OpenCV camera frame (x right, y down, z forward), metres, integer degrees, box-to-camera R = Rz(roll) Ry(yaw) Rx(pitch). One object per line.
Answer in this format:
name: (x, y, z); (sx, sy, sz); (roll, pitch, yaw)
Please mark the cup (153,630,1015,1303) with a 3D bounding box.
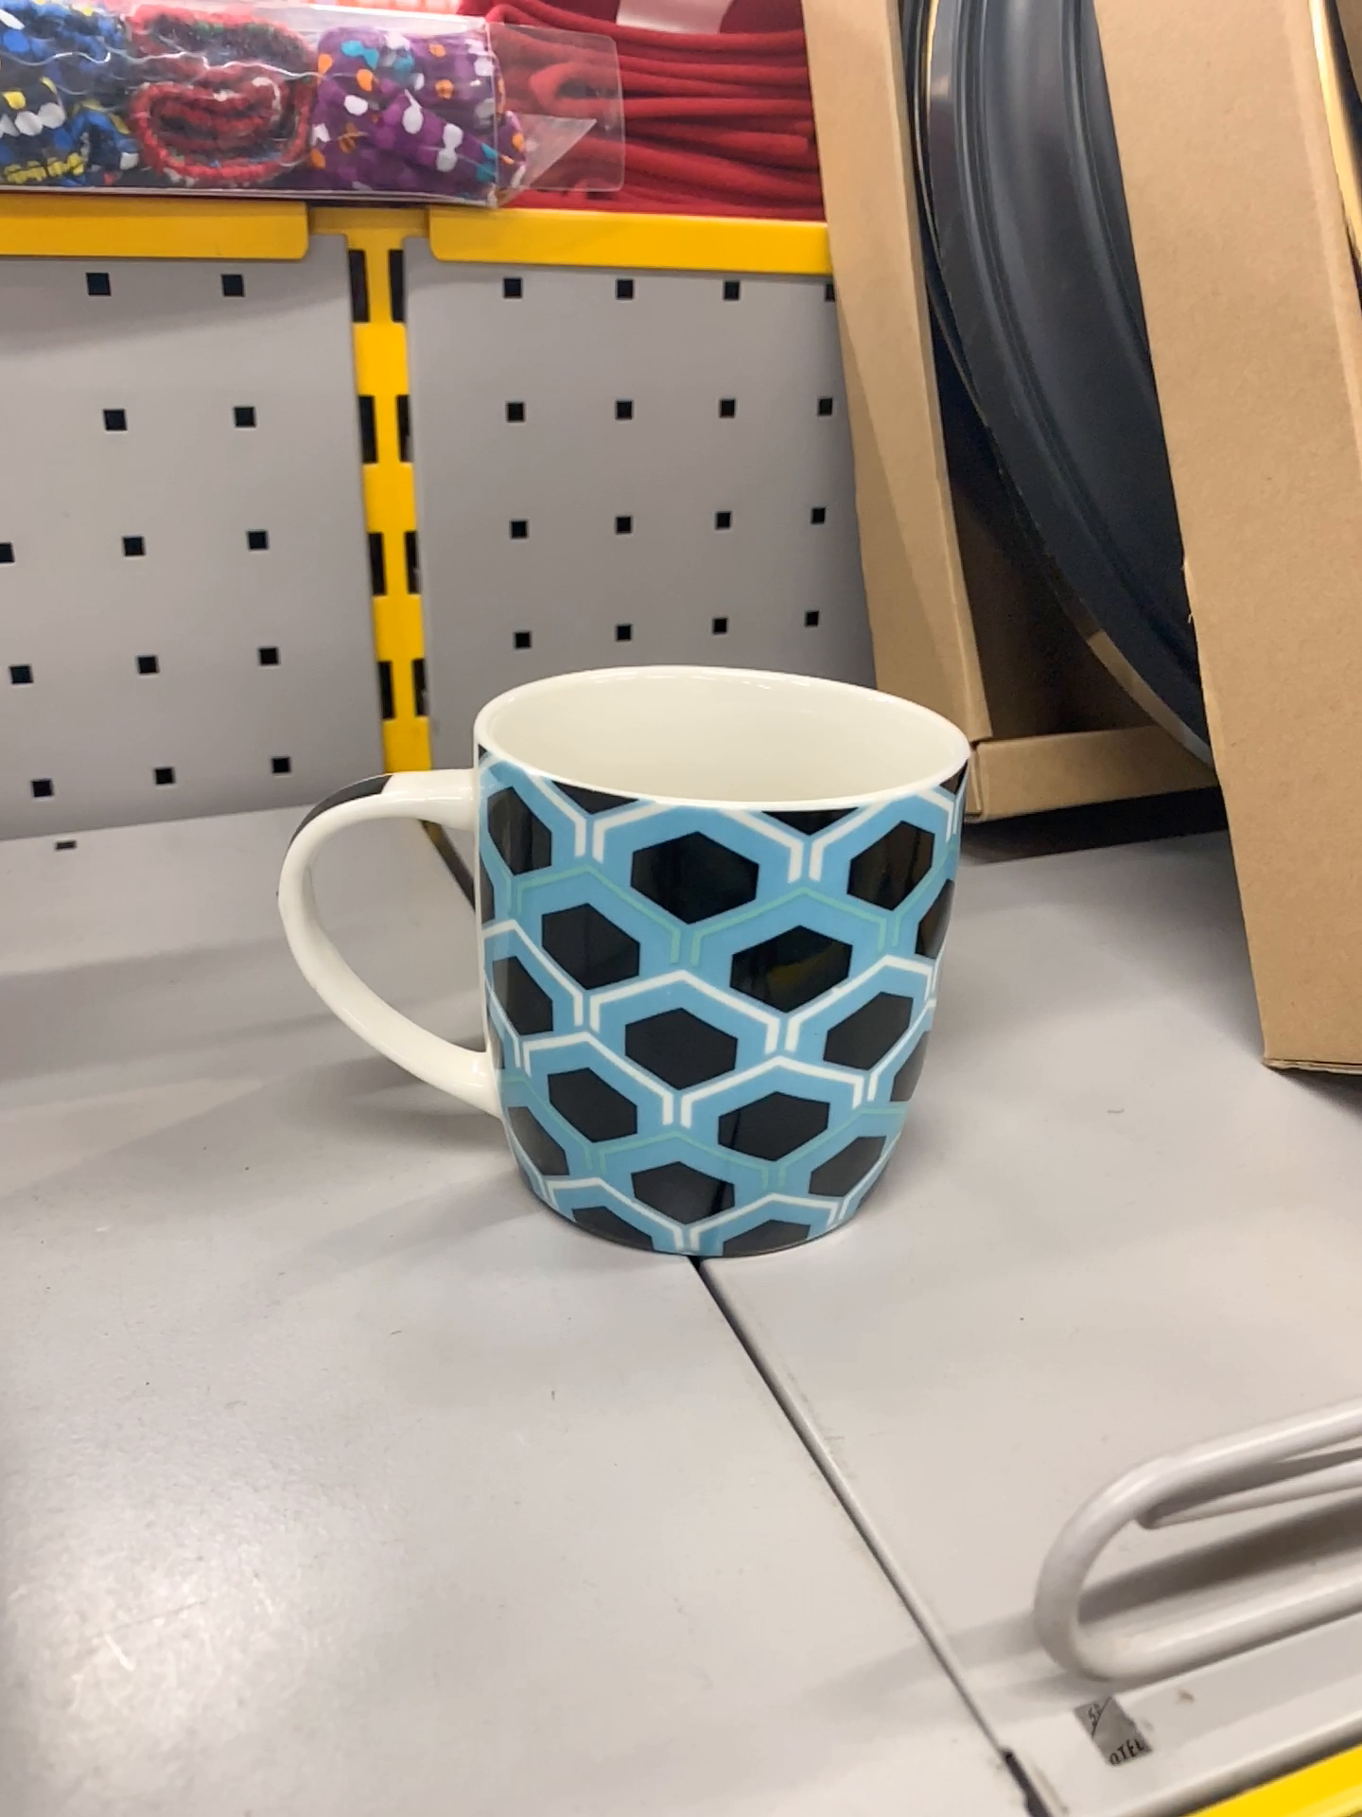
cup: (-0.015, 0.006, 0.256); (0.120, 0.090, 0.090); (1, 24, -2)
